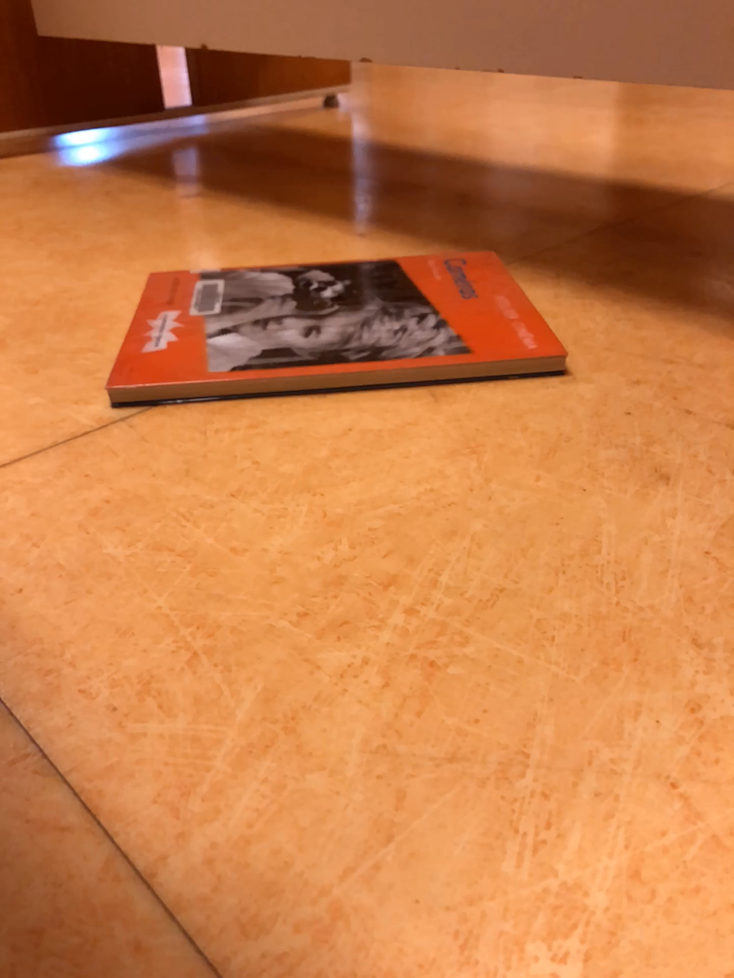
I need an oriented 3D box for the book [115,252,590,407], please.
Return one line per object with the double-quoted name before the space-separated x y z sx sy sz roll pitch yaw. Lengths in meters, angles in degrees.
"book" -0.010 -0.089 0.419 0.205 0.011 0.156 -4 33 -3
